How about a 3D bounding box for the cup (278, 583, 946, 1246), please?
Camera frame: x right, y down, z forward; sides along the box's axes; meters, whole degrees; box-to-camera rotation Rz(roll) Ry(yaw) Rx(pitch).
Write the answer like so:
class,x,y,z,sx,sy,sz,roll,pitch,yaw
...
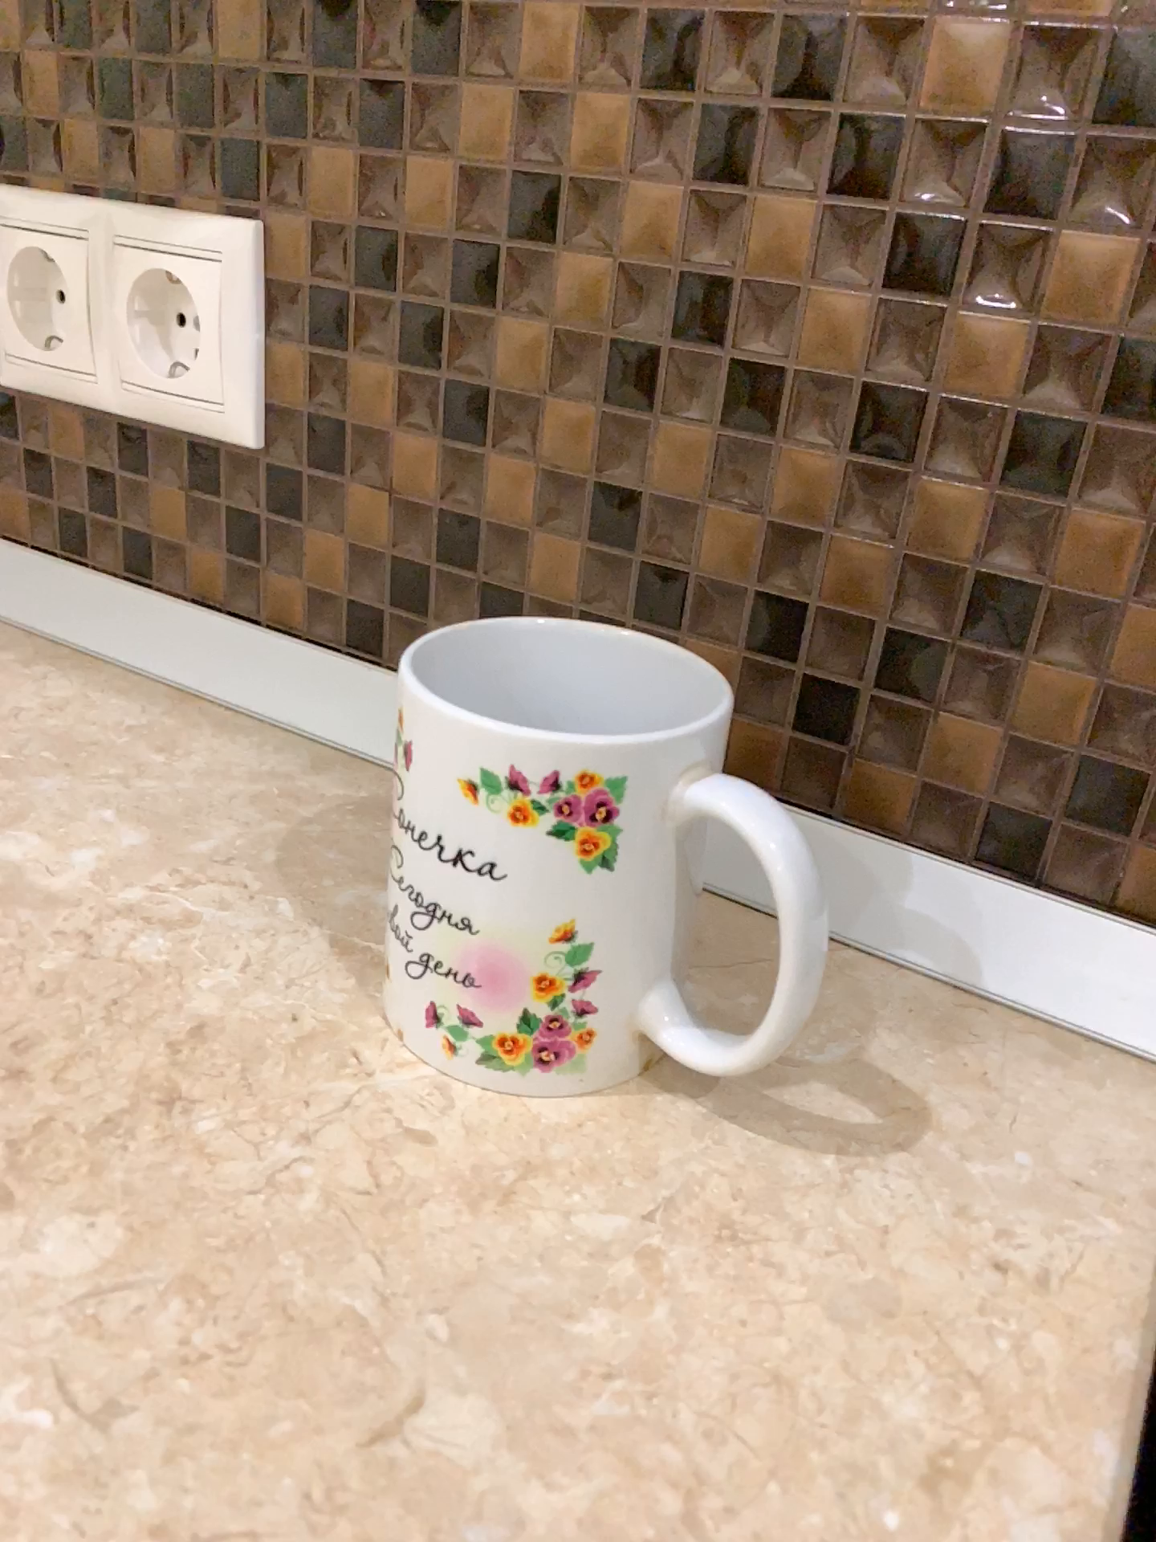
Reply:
class,x,y,z,sx,sy,sz,roll,pitch,yaw
cup,0.004,0.022,0.290,0.123,0.093,0.091,22,29,29
